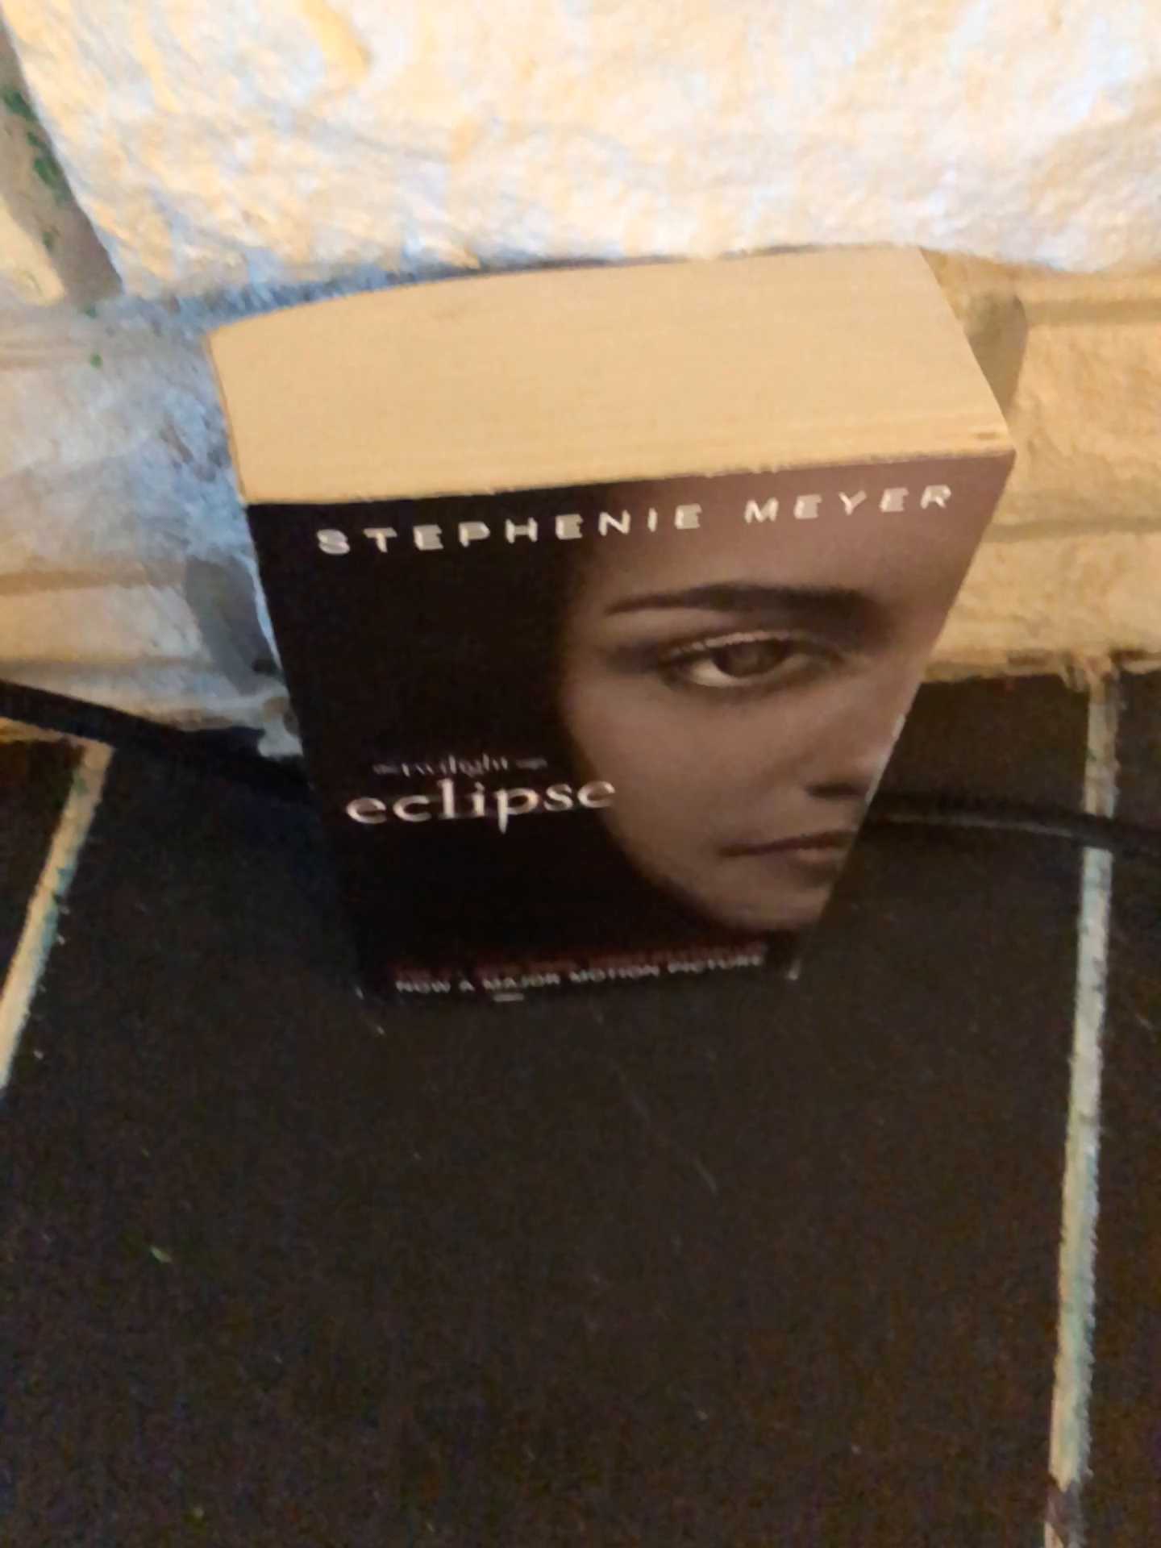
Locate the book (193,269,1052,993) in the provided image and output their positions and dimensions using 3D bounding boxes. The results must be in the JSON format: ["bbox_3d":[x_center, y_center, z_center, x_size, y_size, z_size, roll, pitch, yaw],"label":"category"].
[{"bbox_3d":[0.003,-0.008,0.249,0.106,0.181,0.042,0,62,-2],"label":"book"}]
